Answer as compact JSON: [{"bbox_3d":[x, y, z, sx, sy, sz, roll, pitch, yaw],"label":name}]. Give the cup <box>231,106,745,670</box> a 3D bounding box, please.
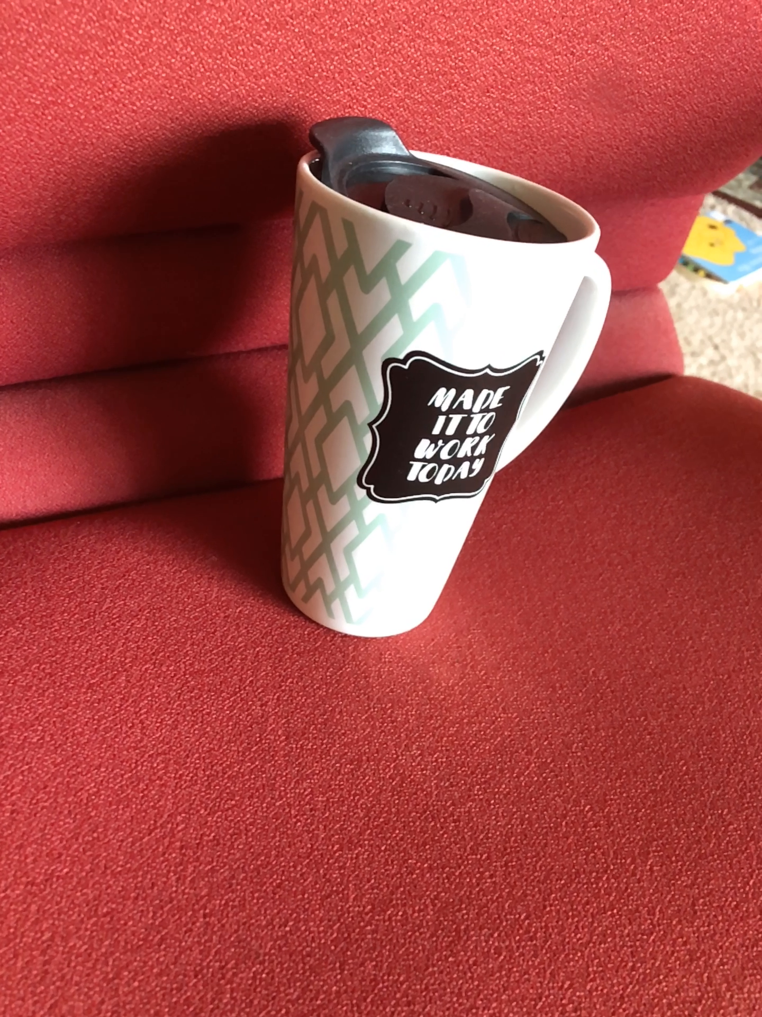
[{"bbox_3d":[0.022,-0.041,0.294,0.120,0.160,0.080,-11,44,-25],"label":"cup"}]
